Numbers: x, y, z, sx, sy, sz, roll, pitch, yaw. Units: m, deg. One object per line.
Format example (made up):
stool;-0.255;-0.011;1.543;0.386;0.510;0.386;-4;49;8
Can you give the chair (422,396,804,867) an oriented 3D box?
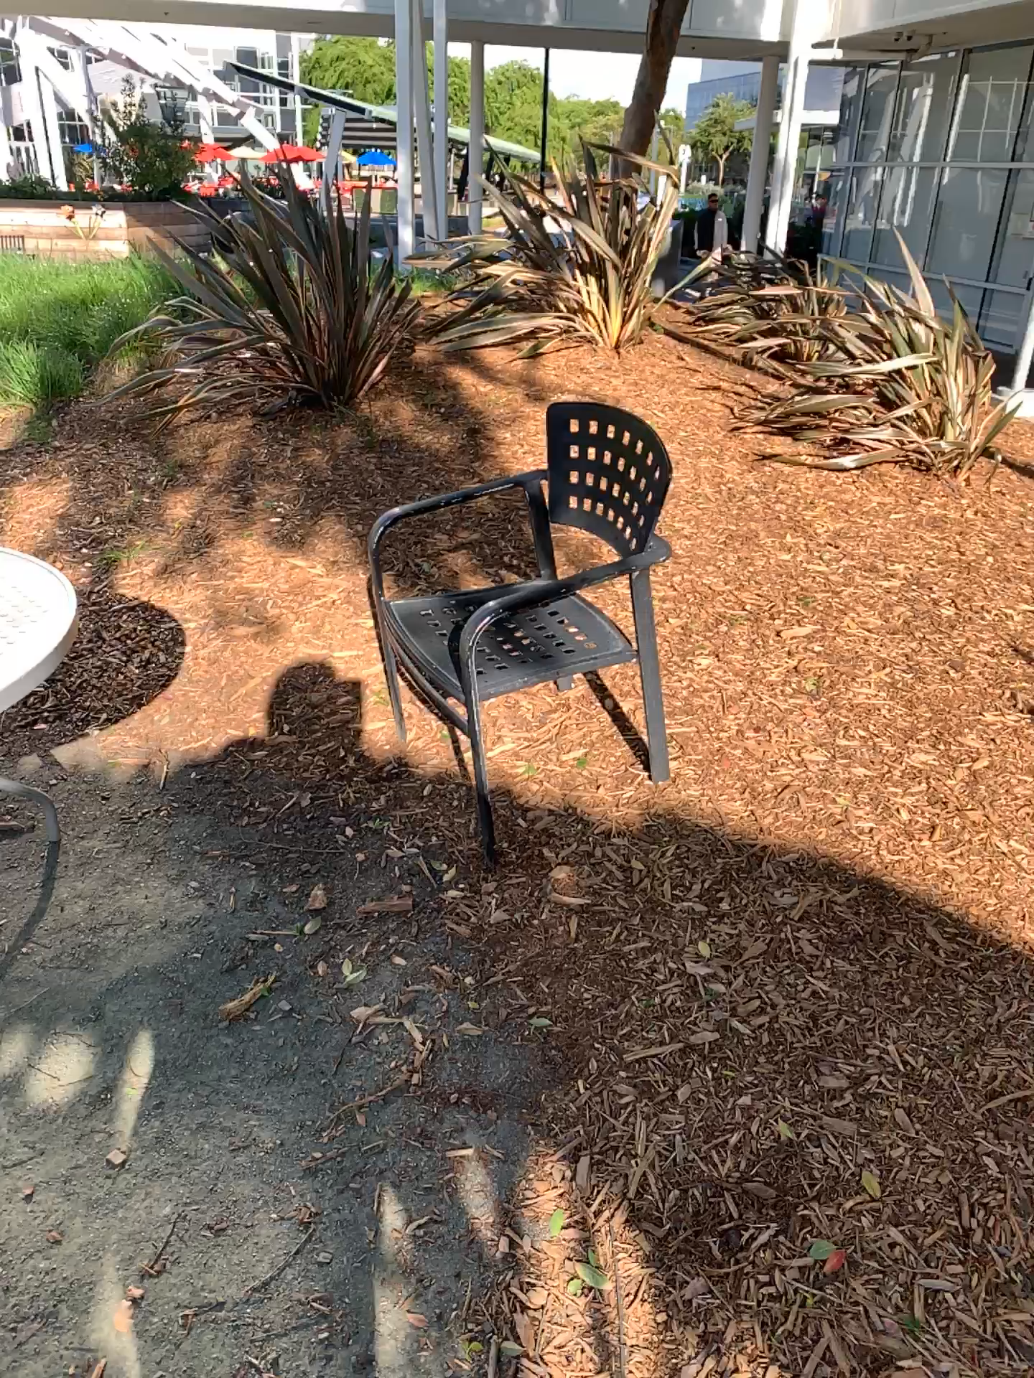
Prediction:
chair;0.139;-0.146;2.063;0.500;0.716;0.523;-9;28;-23
